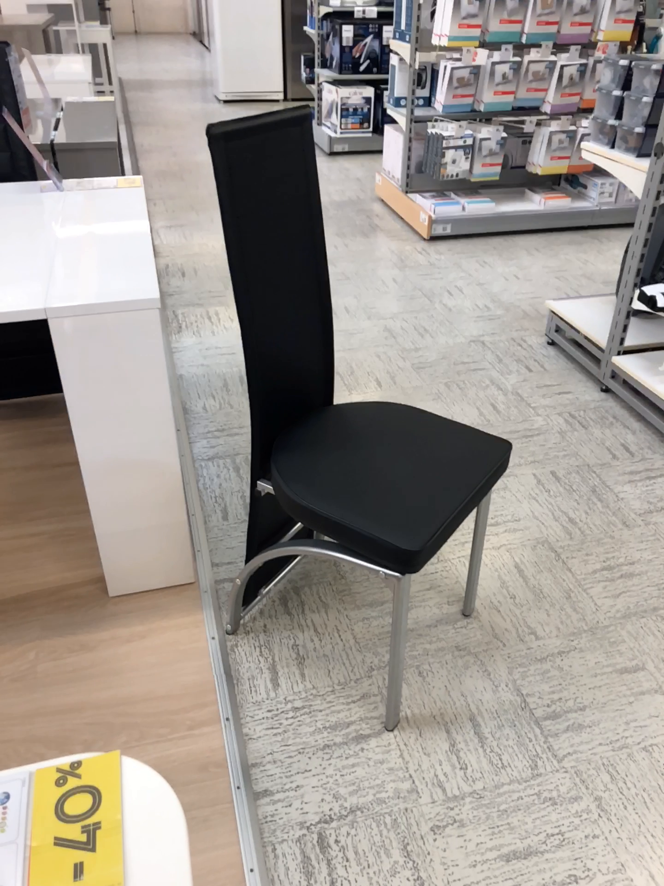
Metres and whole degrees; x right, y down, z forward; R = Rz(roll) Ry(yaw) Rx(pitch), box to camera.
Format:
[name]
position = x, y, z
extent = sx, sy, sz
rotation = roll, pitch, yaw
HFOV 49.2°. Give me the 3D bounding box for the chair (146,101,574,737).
[chair]
position = 0.051, -0.045, 1.379
extent = 0.490, 1.014, 0.453
rotation = 20, 37, 27
